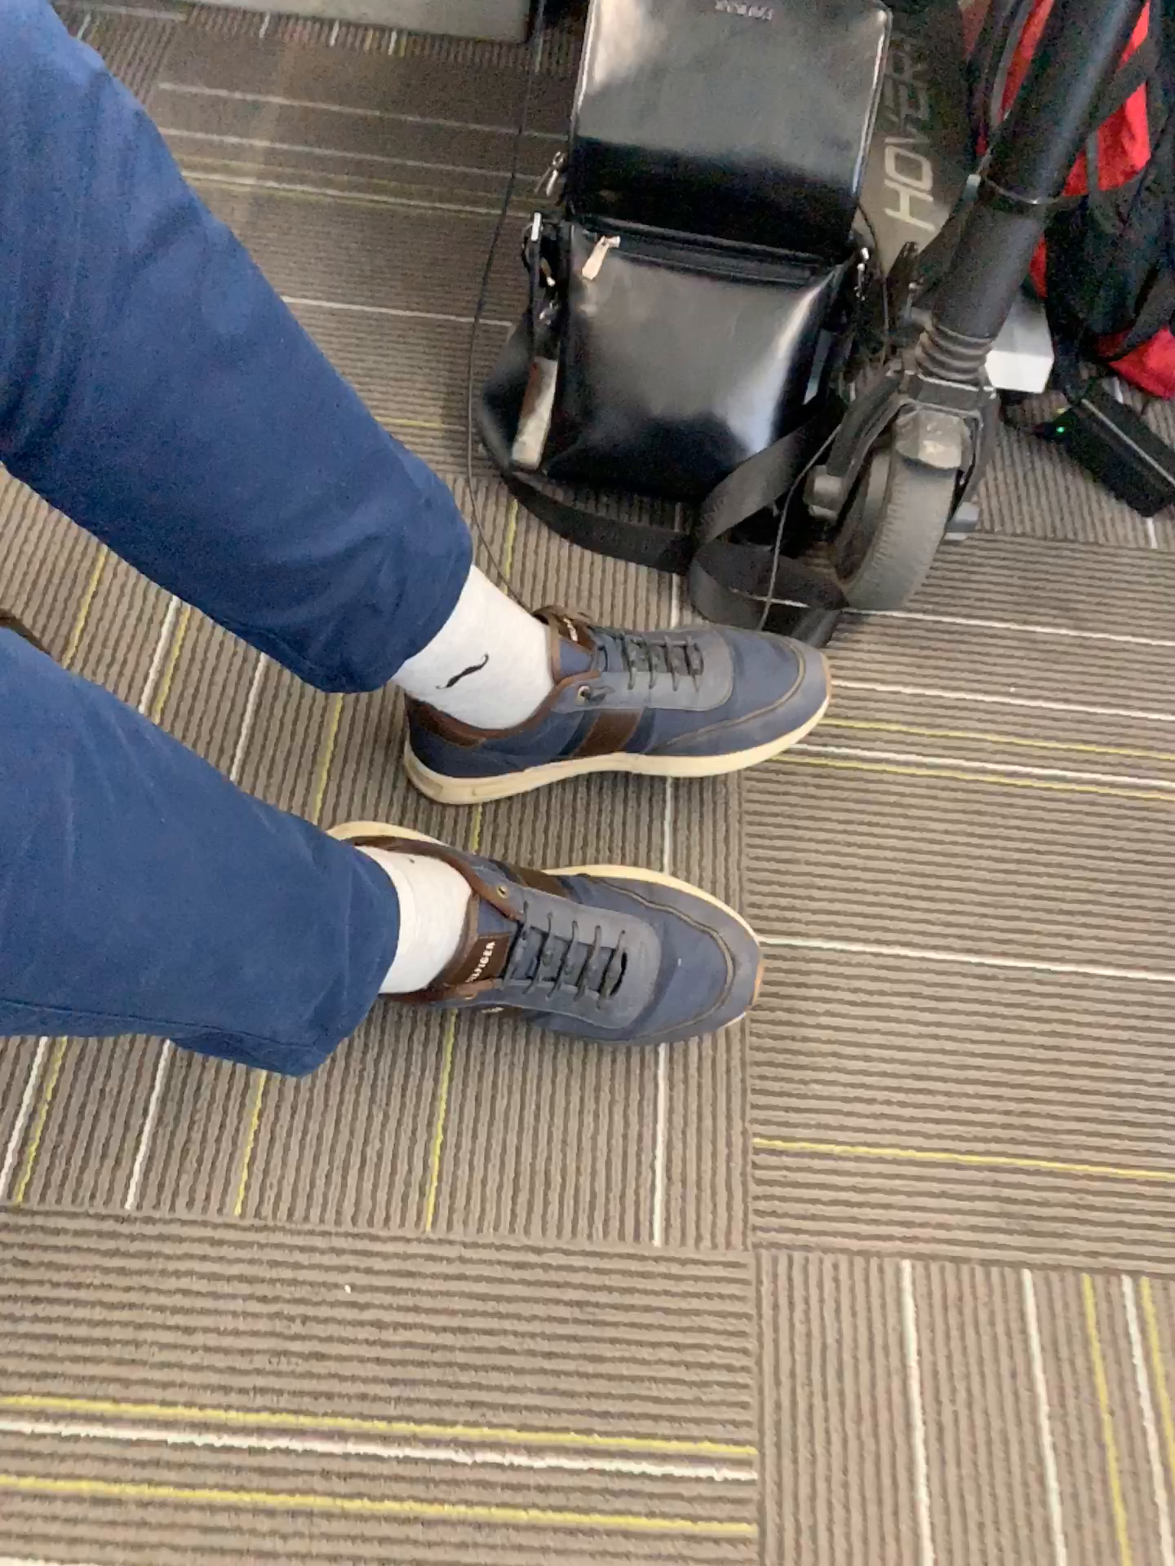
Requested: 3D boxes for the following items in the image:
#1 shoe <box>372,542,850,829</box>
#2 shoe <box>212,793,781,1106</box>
[{"bbox_3d":[0.015,-0.063,0.824,0.300,0.100,0.120,-7,60,5],"label":"shoe"},{"bbox_3d":[-0.053,0.095,0.749,0.320,0.100,0.120,10,88,14],"label":"shoe"}]
